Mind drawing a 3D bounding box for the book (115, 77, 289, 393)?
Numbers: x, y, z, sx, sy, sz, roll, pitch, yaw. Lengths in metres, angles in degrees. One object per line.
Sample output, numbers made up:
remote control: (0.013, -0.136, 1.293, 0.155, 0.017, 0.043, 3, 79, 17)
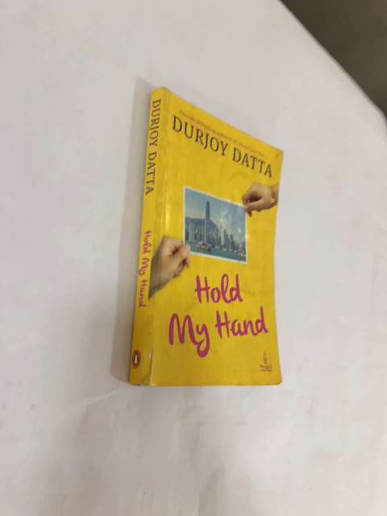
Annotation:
book: (0.017, -0.007, 0.303, 0.141, 0.020, 0.190, 14, 73, -42)
